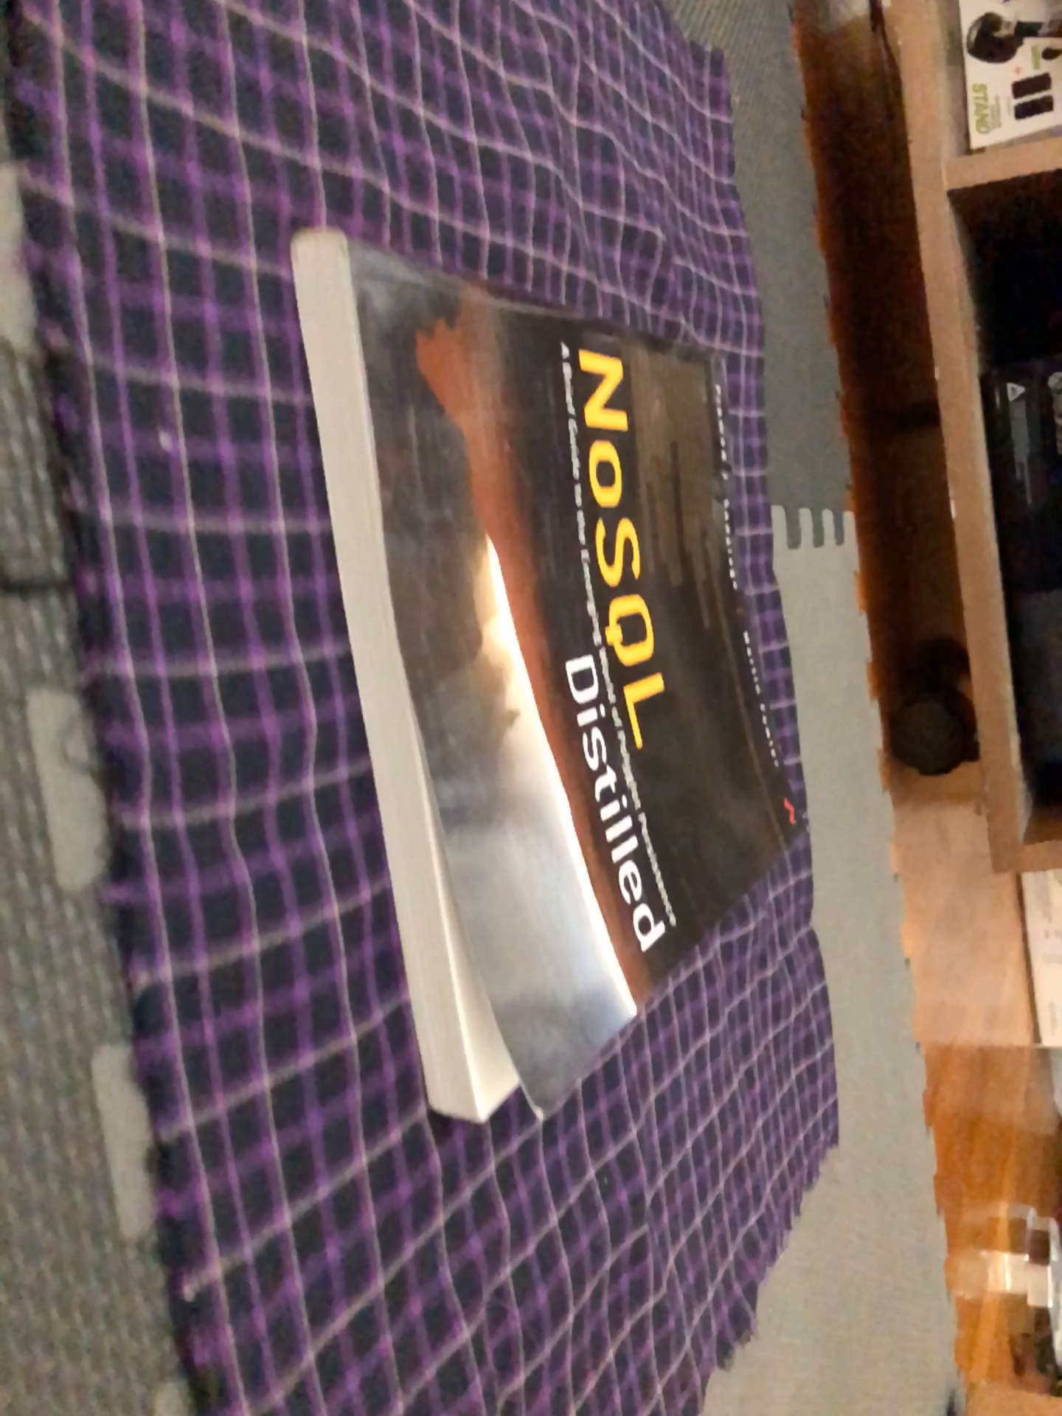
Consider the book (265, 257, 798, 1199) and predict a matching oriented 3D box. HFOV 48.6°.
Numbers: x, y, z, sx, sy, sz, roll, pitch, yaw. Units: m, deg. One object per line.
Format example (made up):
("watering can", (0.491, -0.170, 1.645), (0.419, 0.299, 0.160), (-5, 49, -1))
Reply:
("book", (0.027, -0.011, 0.348), (0.251, 0.020, 0.190), (-20, 102, -62))
